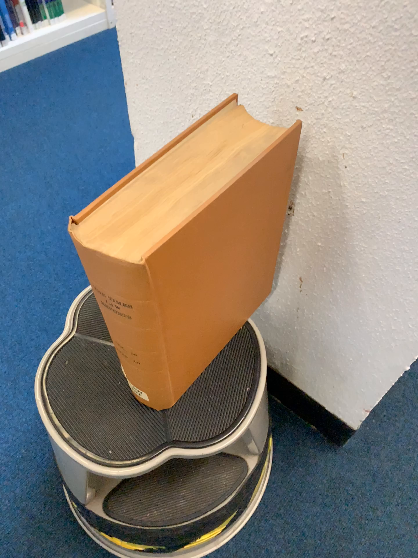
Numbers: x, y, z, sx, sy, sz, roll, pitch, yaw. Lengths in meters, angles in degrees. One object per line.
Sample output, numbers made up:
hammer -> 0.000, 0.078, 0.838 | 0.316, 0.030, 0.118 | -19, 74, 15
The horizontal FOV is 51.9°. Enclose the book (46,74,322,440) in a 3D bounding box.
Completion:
book -> -0.011, 0.003, 0.462 | 0.090, 0.337, 0.221 | 32, 58, 21
